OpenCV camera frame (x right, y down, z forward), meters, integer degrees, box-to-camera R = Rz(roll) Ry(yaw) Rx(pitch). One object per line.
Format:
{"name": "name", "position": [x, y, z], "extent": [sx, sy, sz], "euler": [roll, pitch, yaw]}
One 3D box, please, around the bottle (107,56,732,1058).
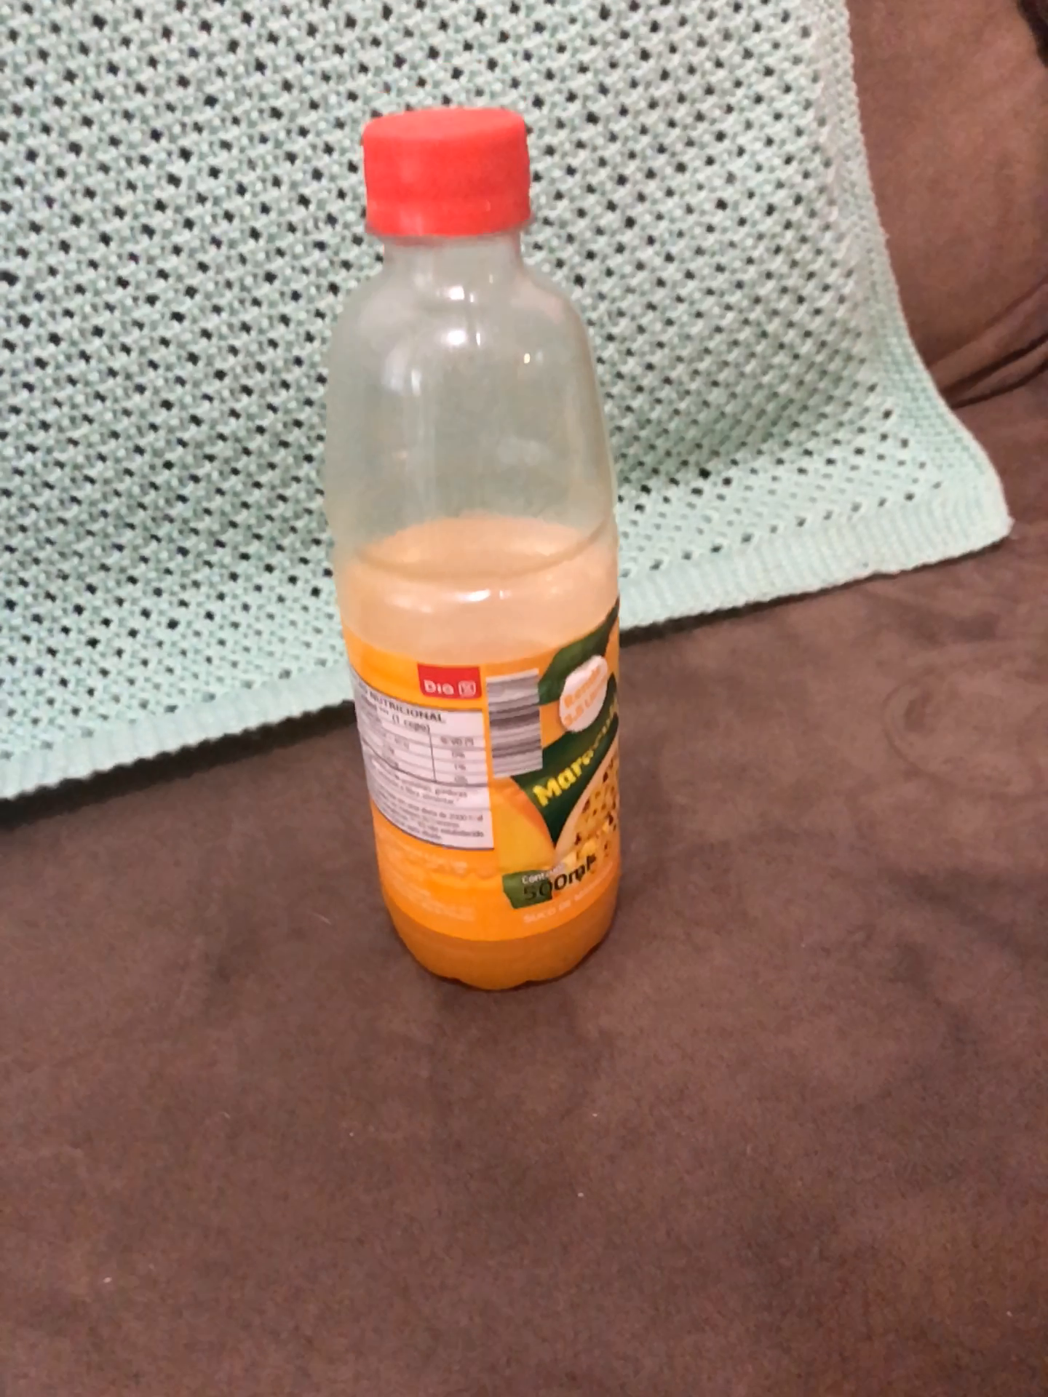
{"name": "bottle", "position": [-0.011, -0.028, 0.268], "extent": [0.080, 0.198, 0.080], "euler": [-3, 35, 2]}
